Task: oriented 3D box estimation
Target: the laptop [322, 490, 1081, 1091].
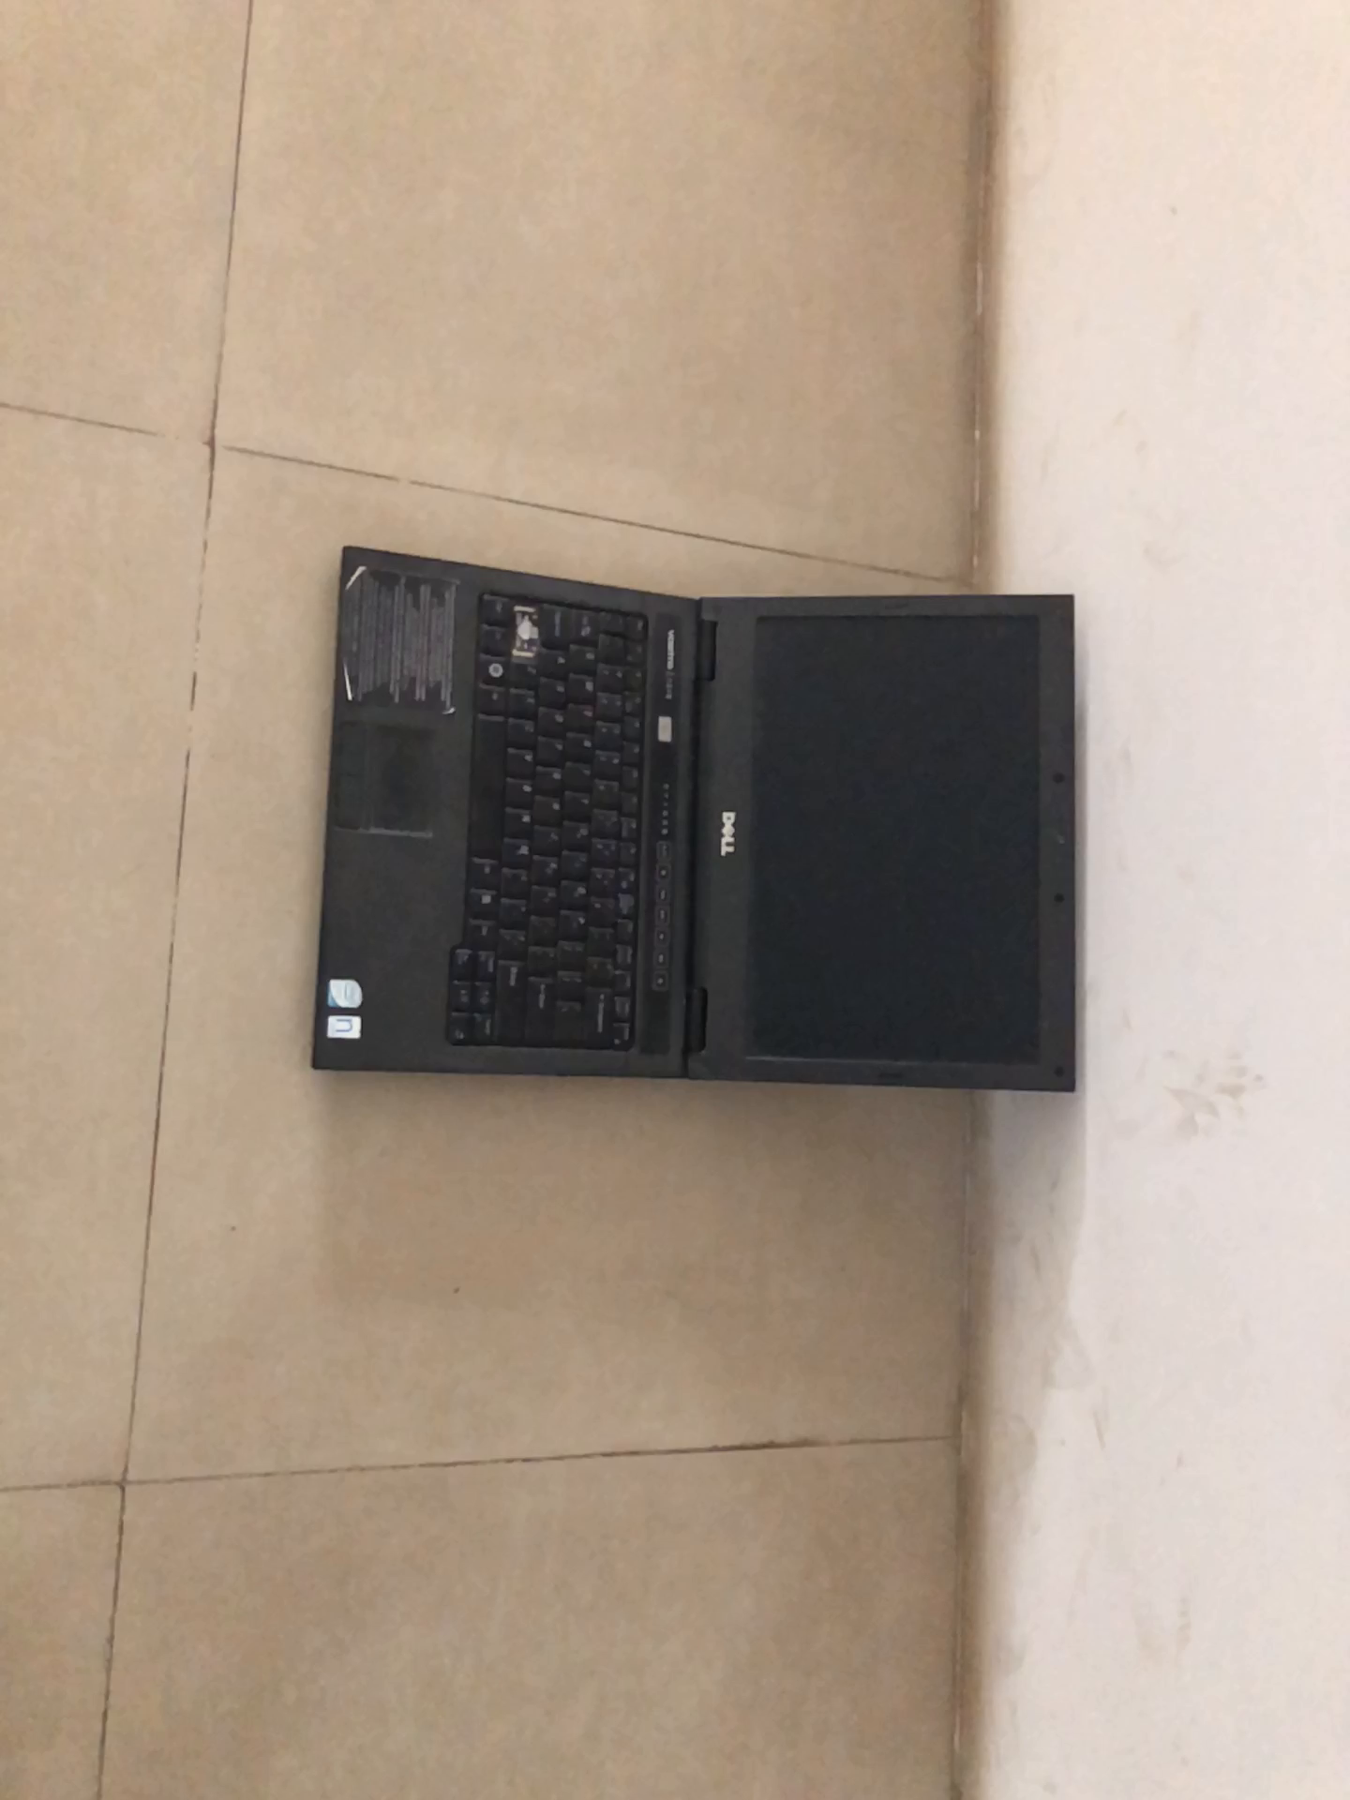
[{"bbox_3d":[0.026,-0.045,0.888,0.433,0.114,0.299,5,81,-21],"label":"laptop"}]
